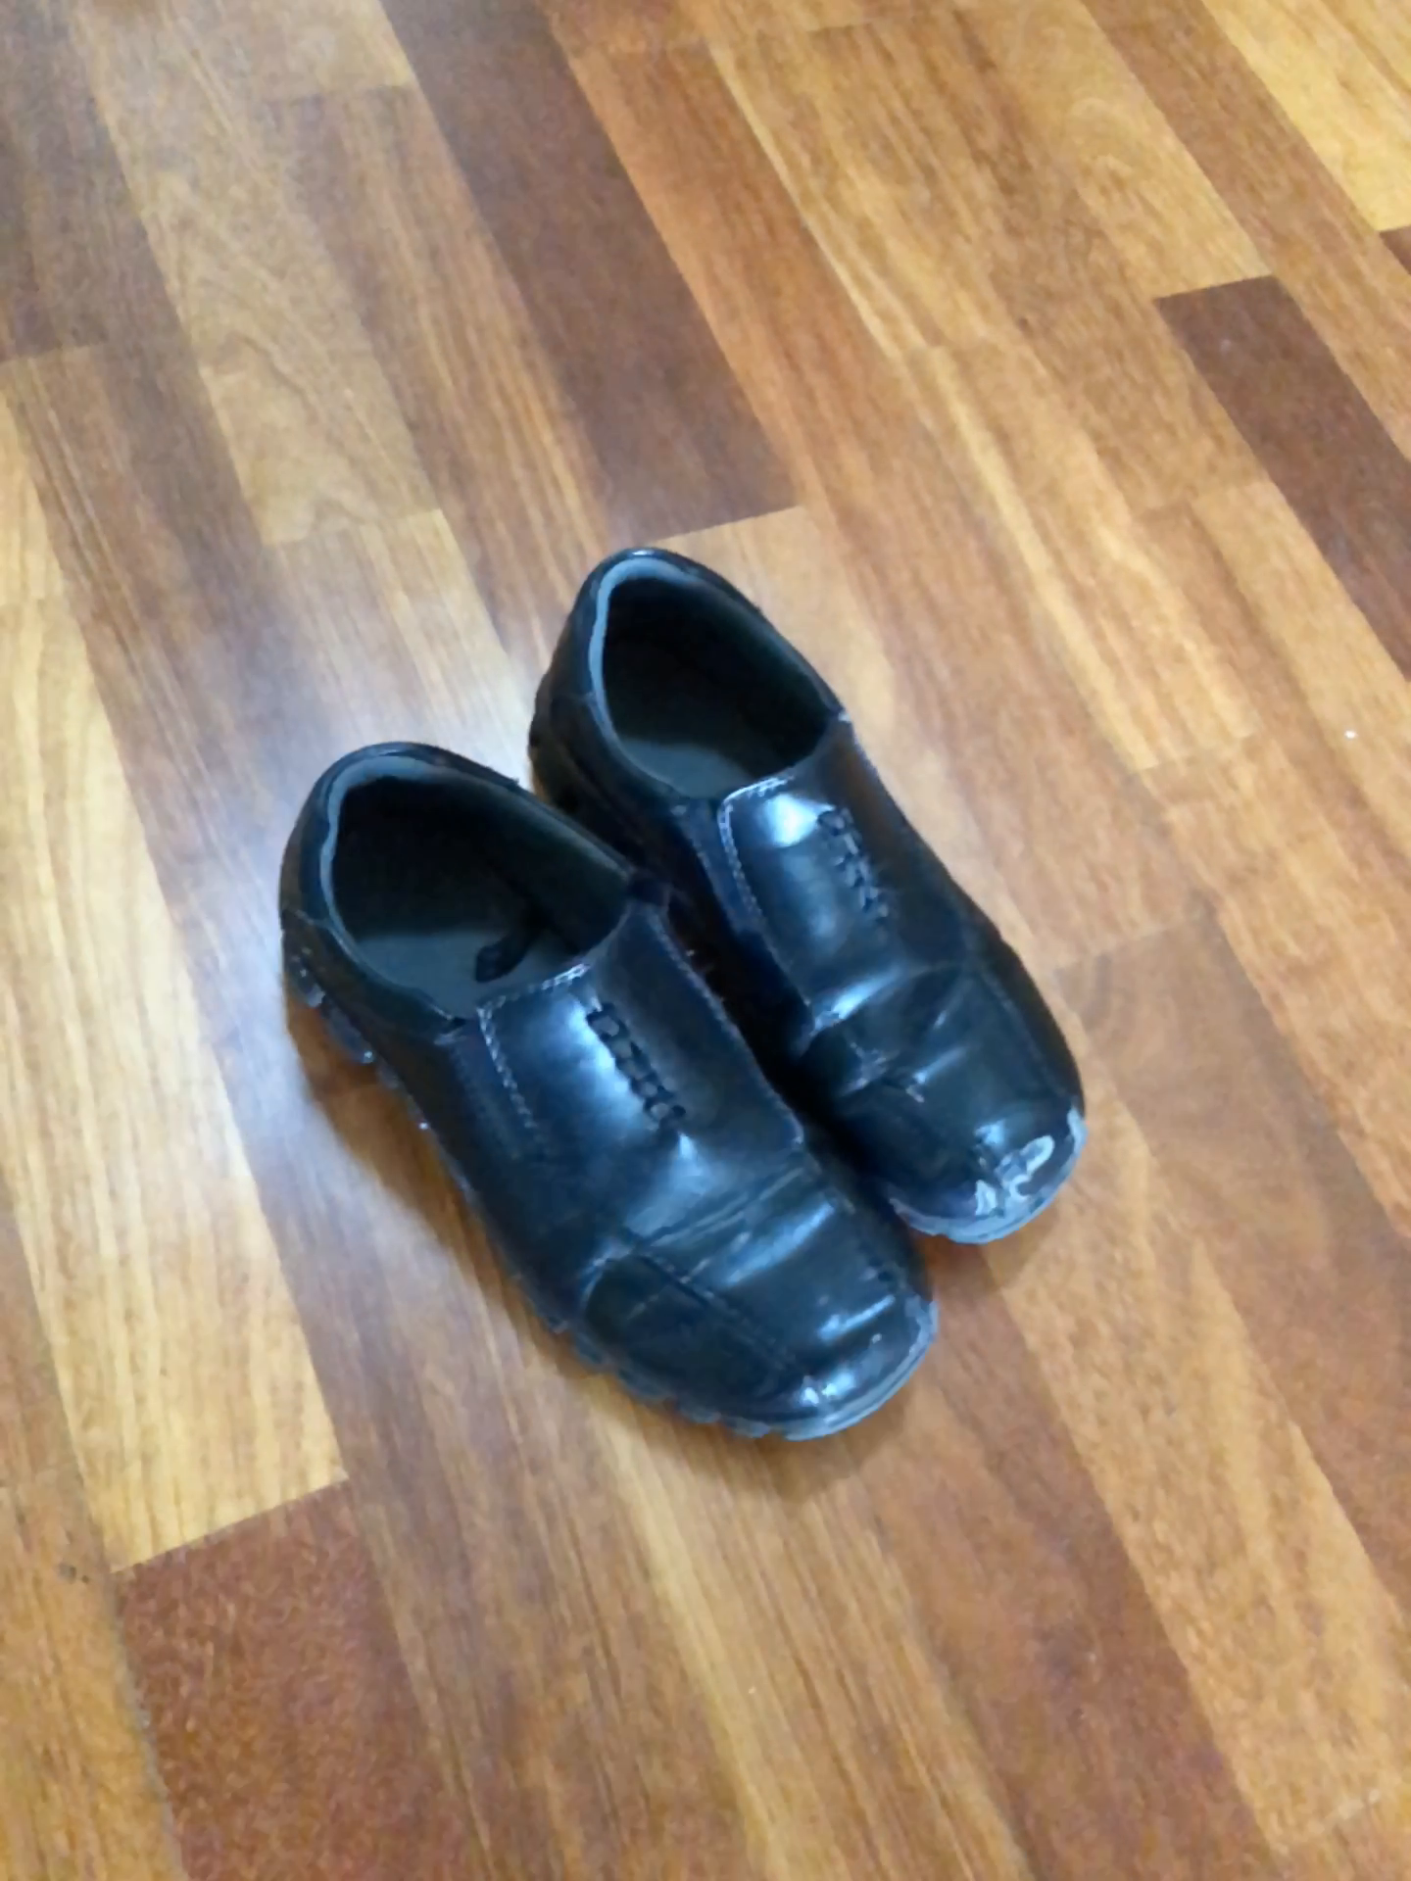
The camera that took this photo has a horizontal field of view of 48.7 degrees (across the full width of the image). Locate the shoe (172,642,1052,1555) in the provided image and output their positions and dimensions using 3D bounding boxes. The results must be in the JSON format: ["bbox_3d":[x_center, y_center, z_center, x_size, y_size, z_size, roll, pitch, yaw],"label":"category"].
[{"bbox_3d":[-0.032,0.040,0.429,0.094,0.075,0.233,-38,76,-23],"label":"shoe"}]

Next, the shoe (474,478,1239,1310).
[{"bbox_3d":[0.034,-0.018,0.471,0.091,0.075,0.233,-32,74,-22],"label":"shoe"}]
